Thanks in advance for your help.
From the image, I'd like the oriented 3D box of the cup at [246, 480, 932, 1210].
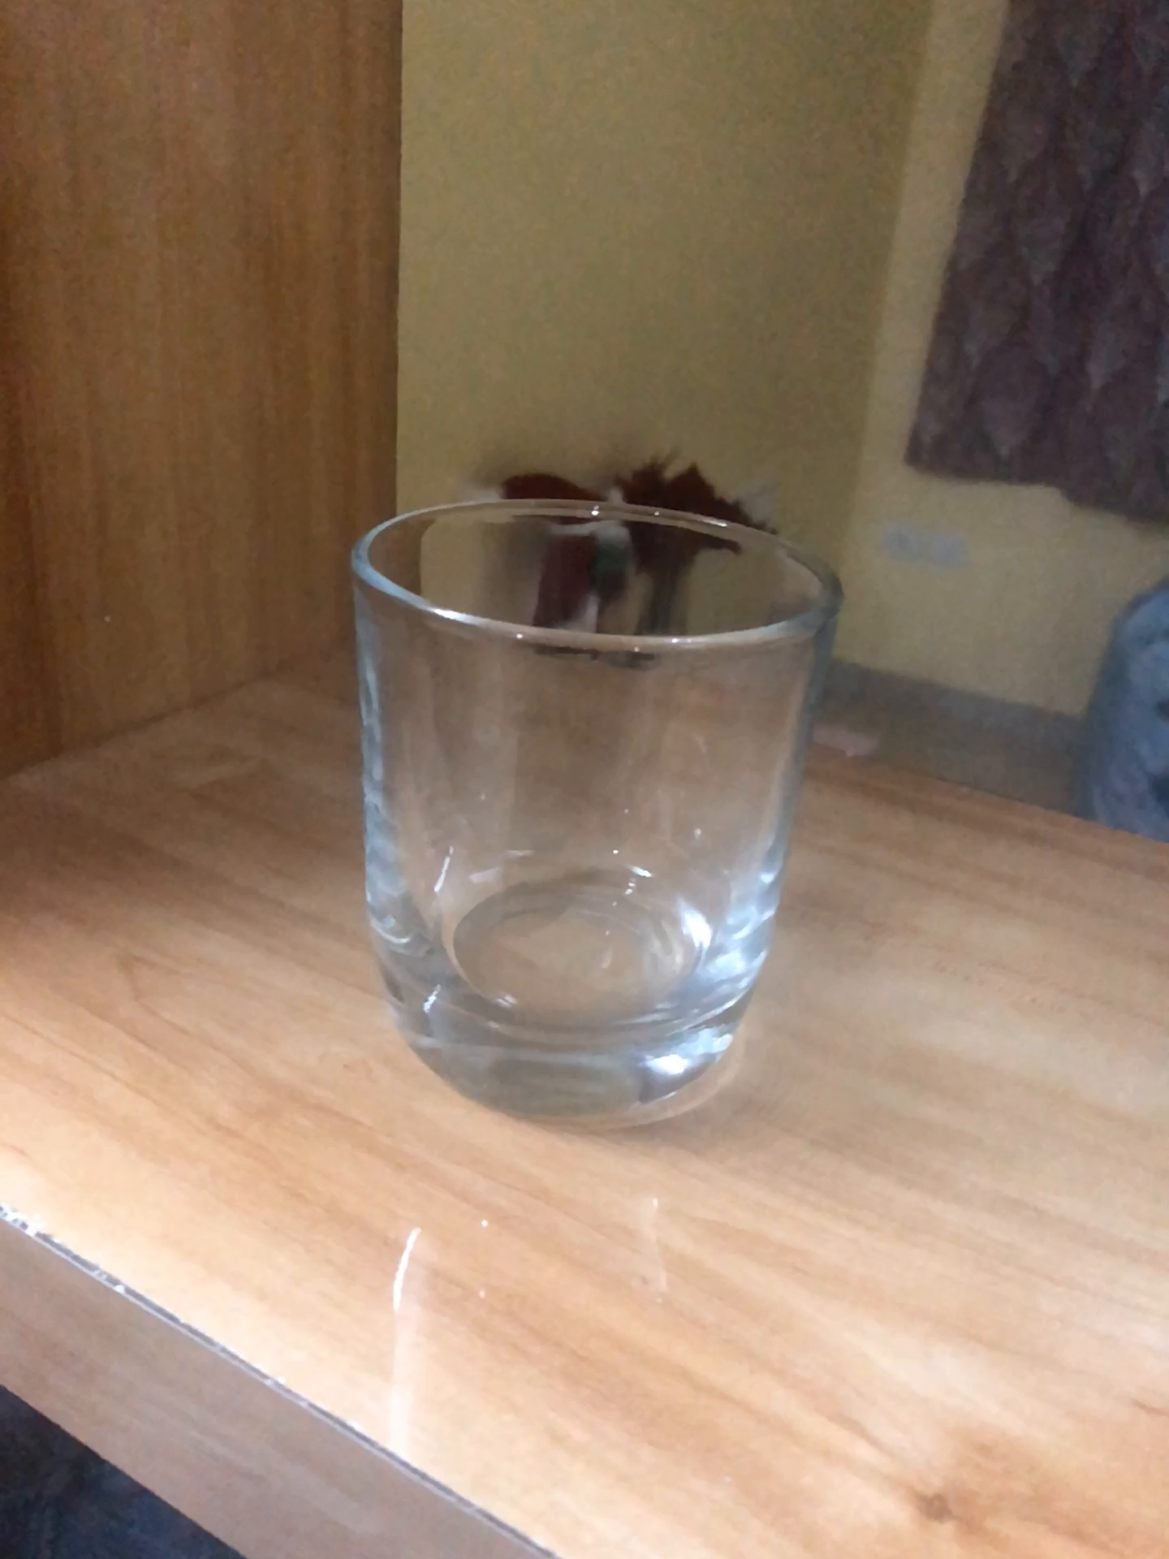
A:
[{"bbox_3d":[-0.005,0.002,0.241,0.080,0.090,0.090,-13,30,-33],"label":"cup"}]
